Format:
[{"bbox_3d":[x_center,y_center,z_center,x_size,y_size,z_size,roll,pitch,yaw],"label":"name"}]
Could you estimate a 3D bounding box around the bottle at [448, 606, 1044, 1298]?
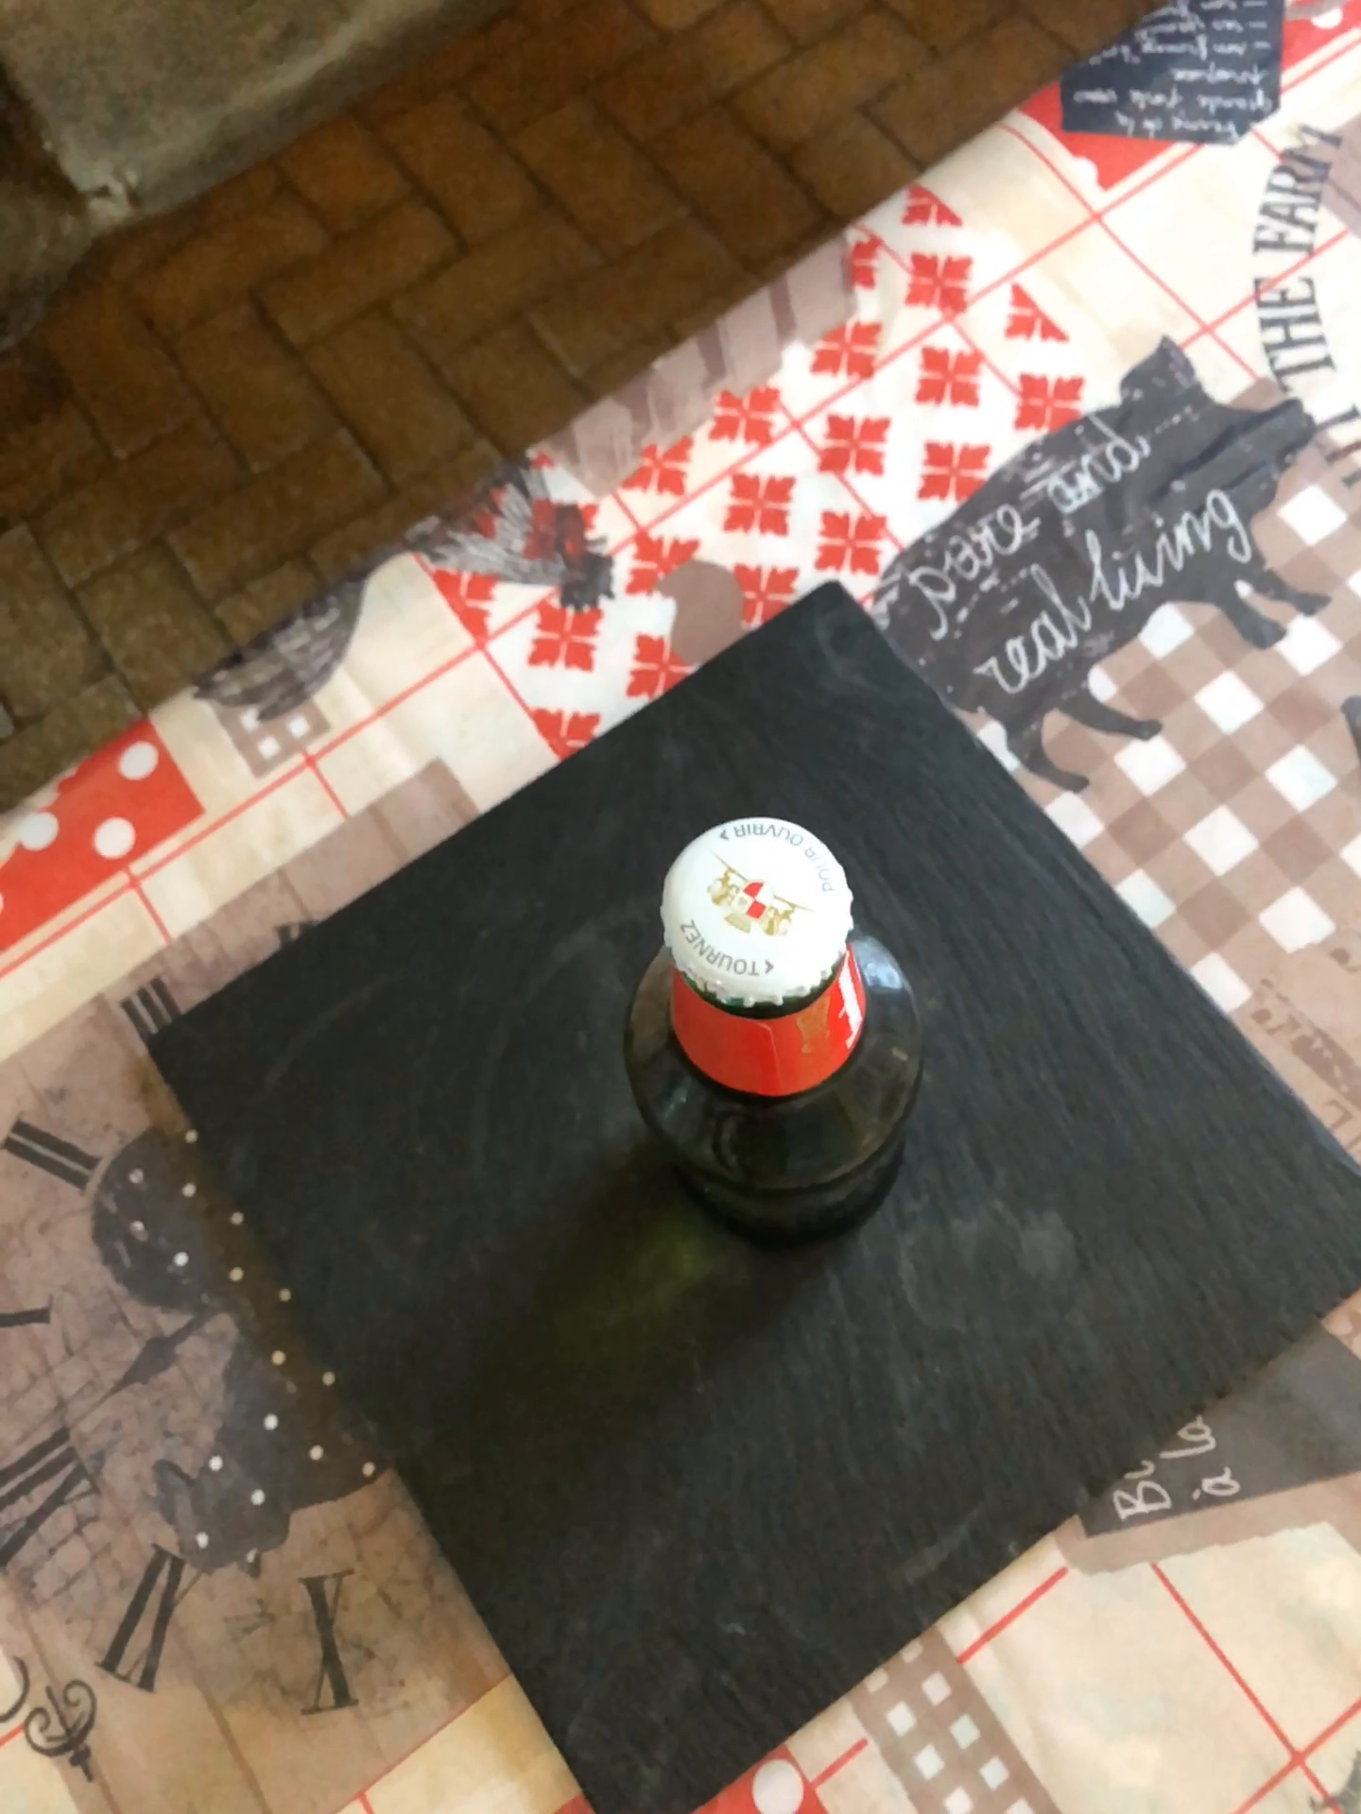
[{"bbox_3d":[0.018,0.025,0.298,0.060,0.180,0.060,-2,70,5],"label":"bottle"}]
